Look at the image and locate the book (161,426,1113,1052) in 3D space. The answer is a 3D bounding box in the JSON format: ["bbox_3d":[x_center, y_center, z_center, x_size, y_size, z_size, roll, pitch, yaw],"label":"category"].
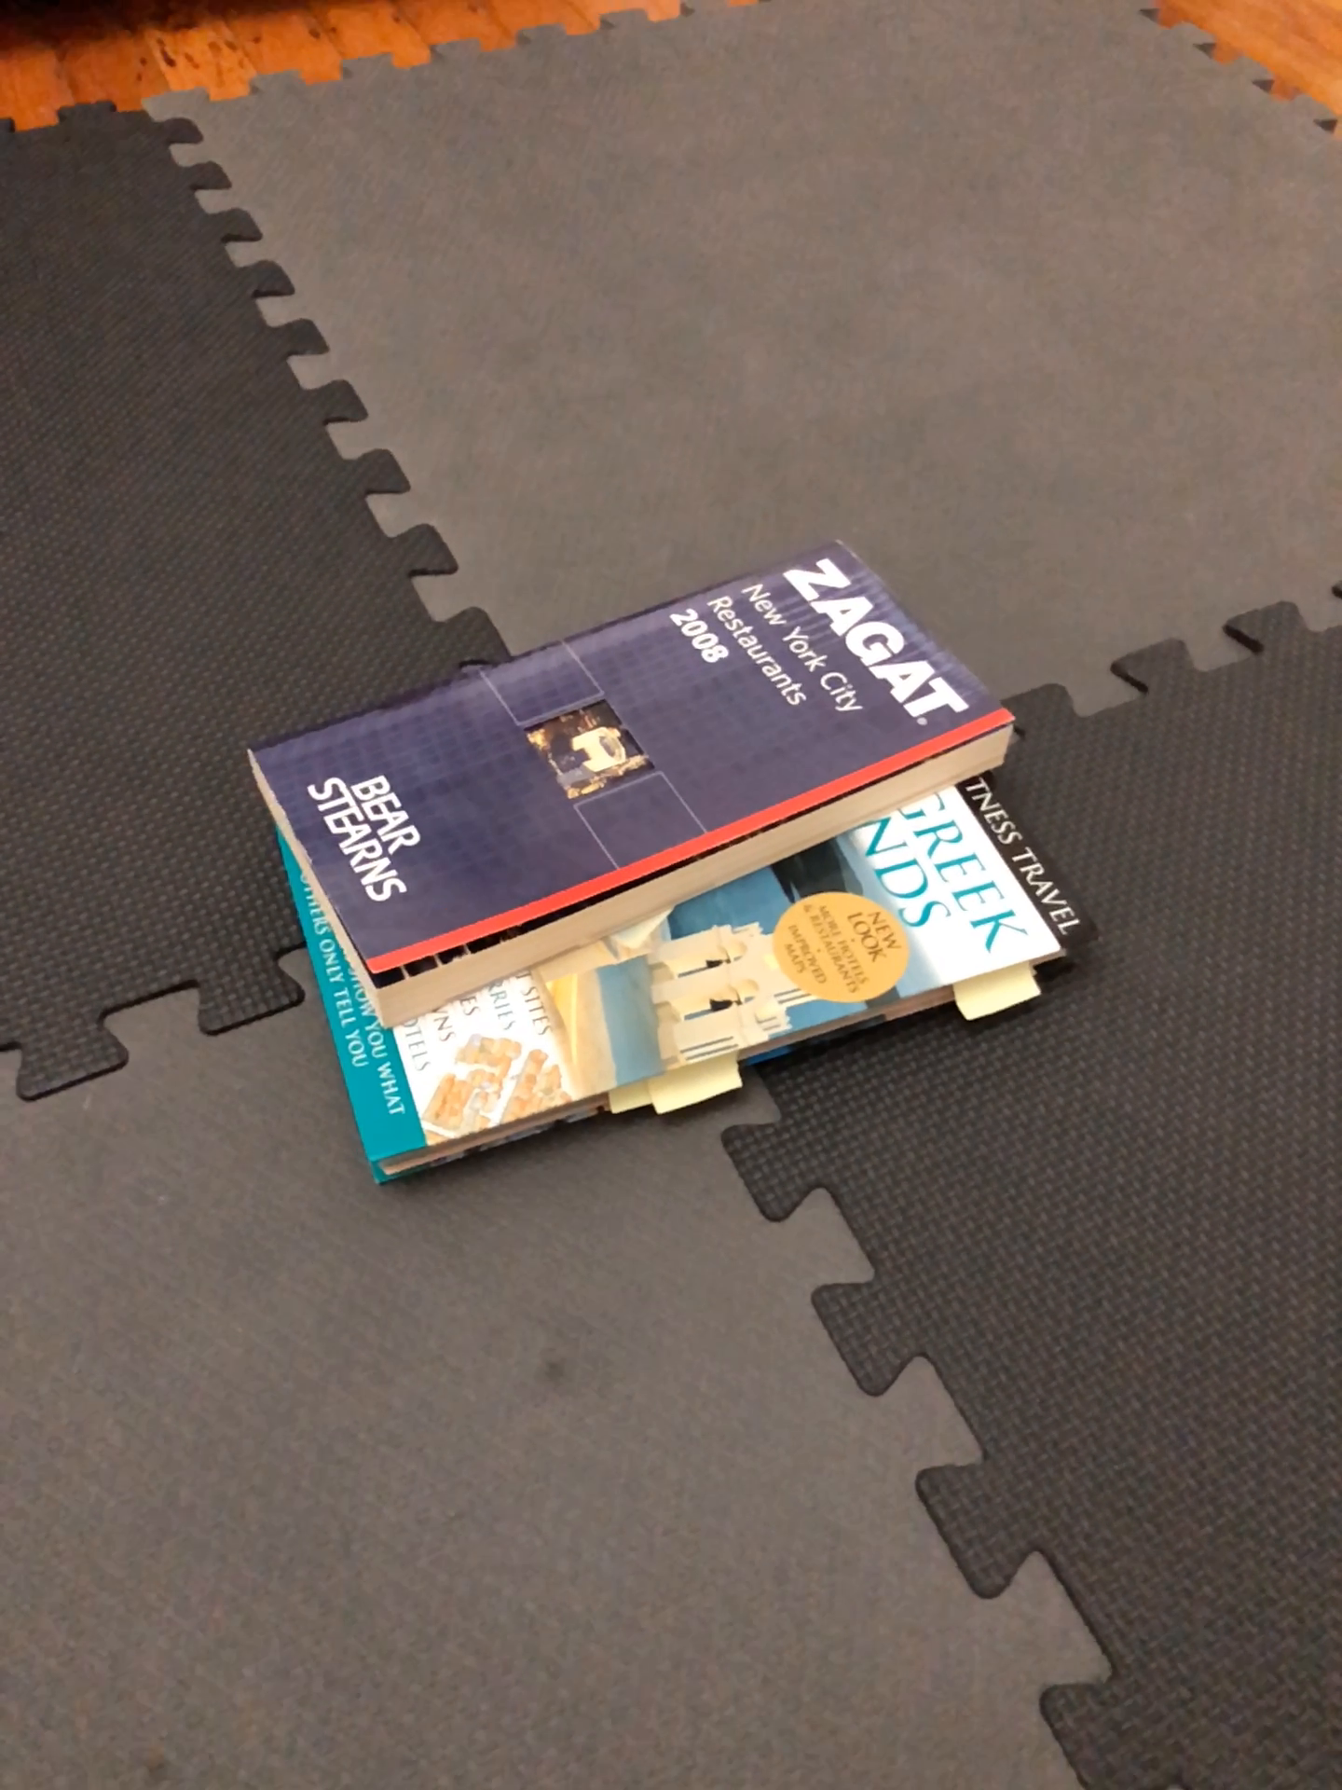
[{"bbox_3d":[-0.010,-0.064,0.461,0.250,0.020,0.151,-23,56,-19],"label":"book"}]

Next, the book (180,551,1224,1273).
[{"bbox_3d":[0.003,-0.012,0.443,0.260,0.030,0.171,-16,54,-14],"label":"book"}]
